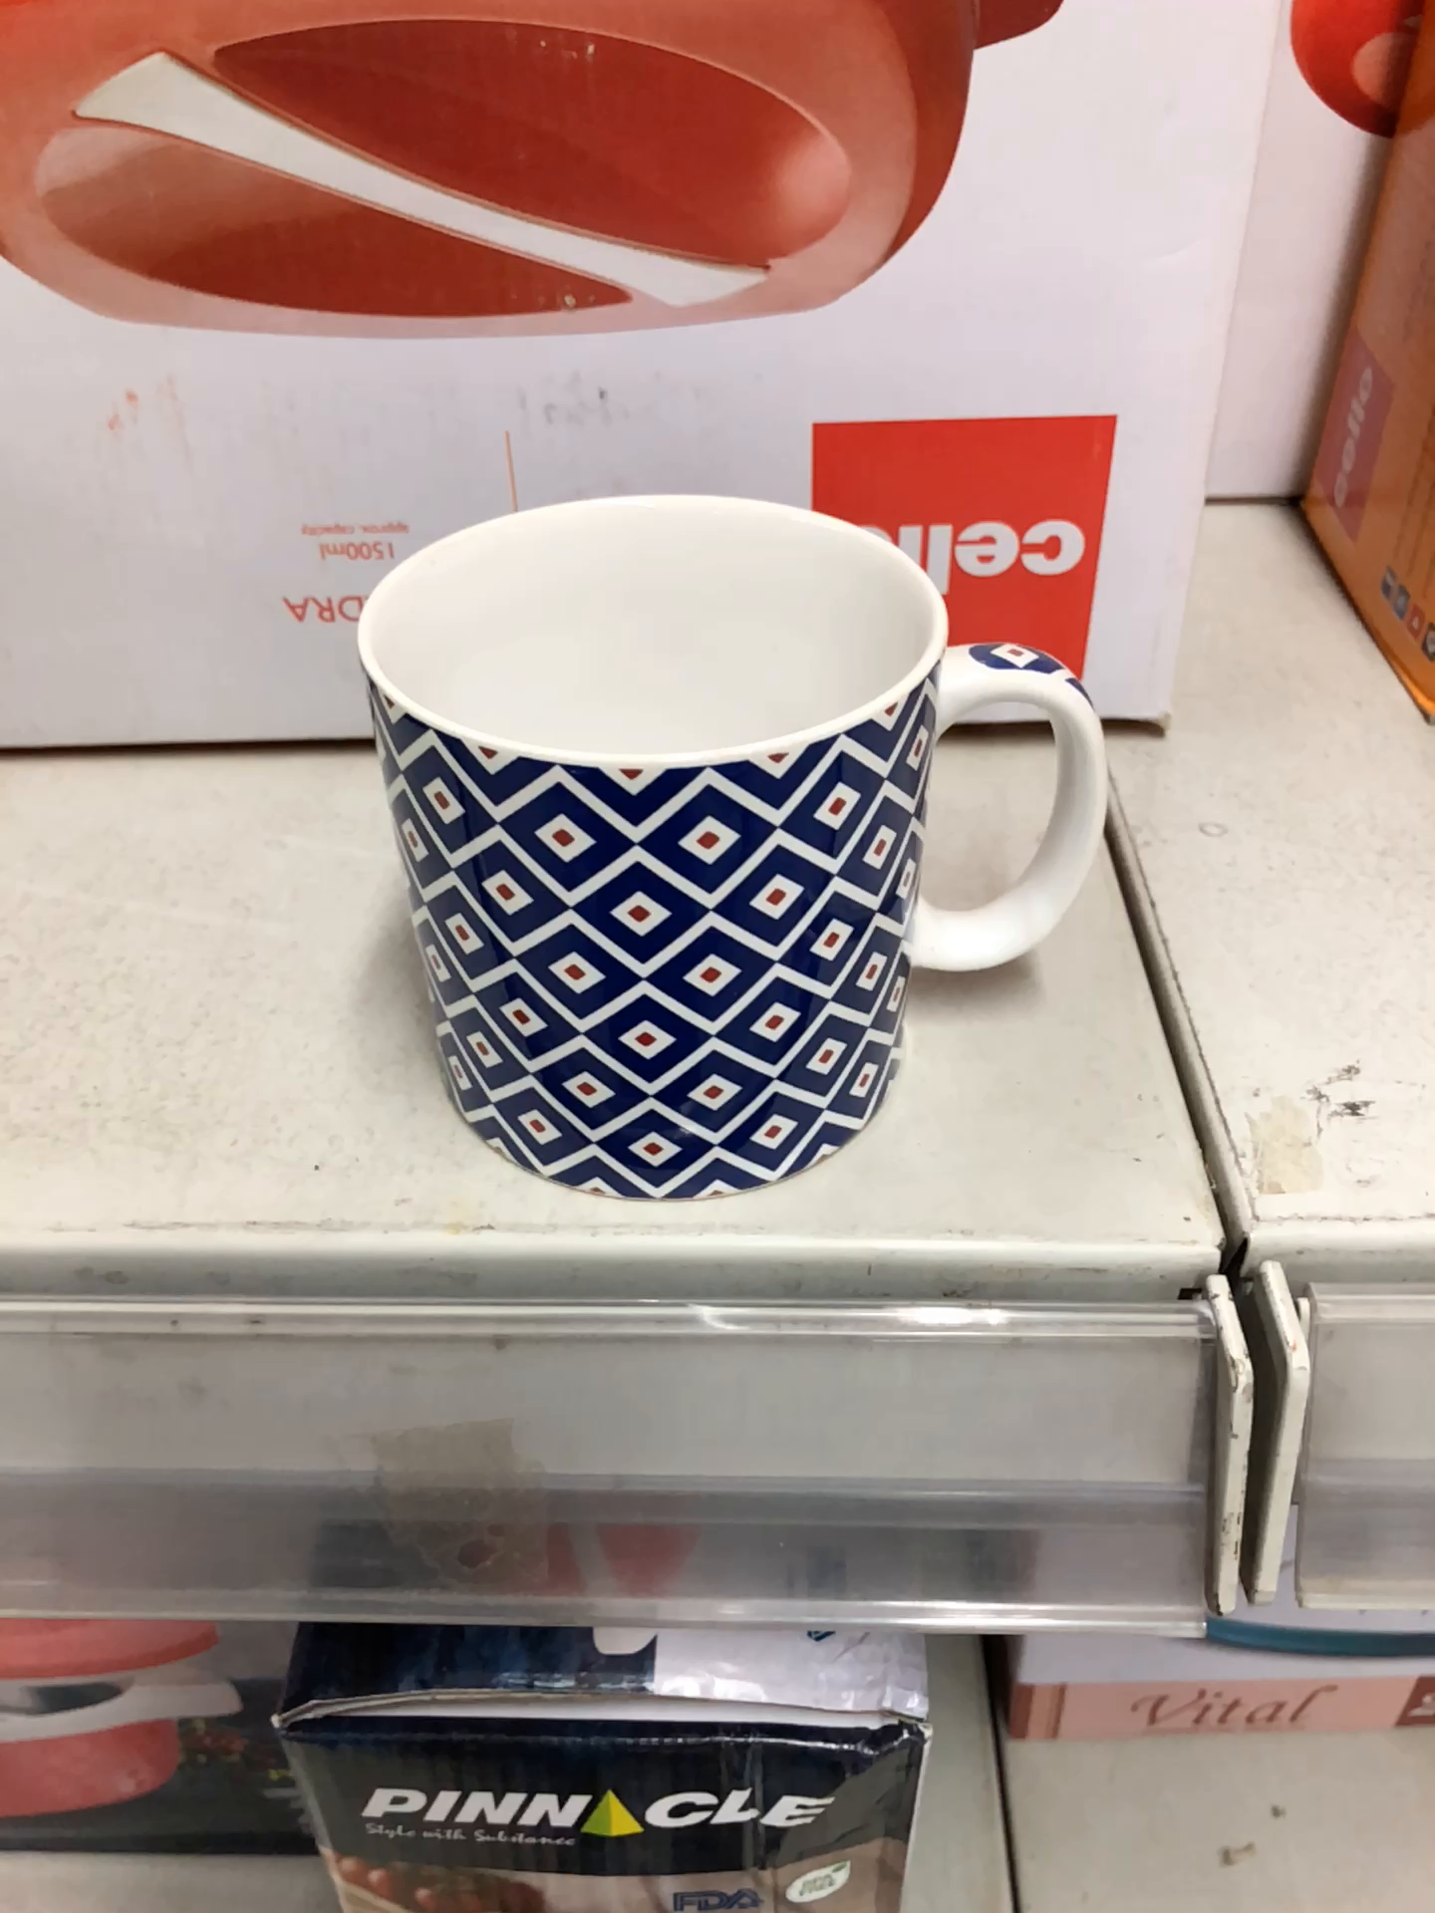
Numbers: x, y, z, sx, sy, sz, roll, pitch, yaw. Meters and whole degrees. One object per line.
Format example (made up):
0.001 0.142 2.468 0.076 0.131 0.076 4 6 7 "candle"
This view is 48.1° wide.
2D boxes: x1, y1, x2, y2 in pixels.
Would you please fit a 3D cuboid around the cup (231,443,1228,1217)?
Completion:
0.002 -0.020 0.233 0.110 0.079 0.081 0 38 1 "cup"
